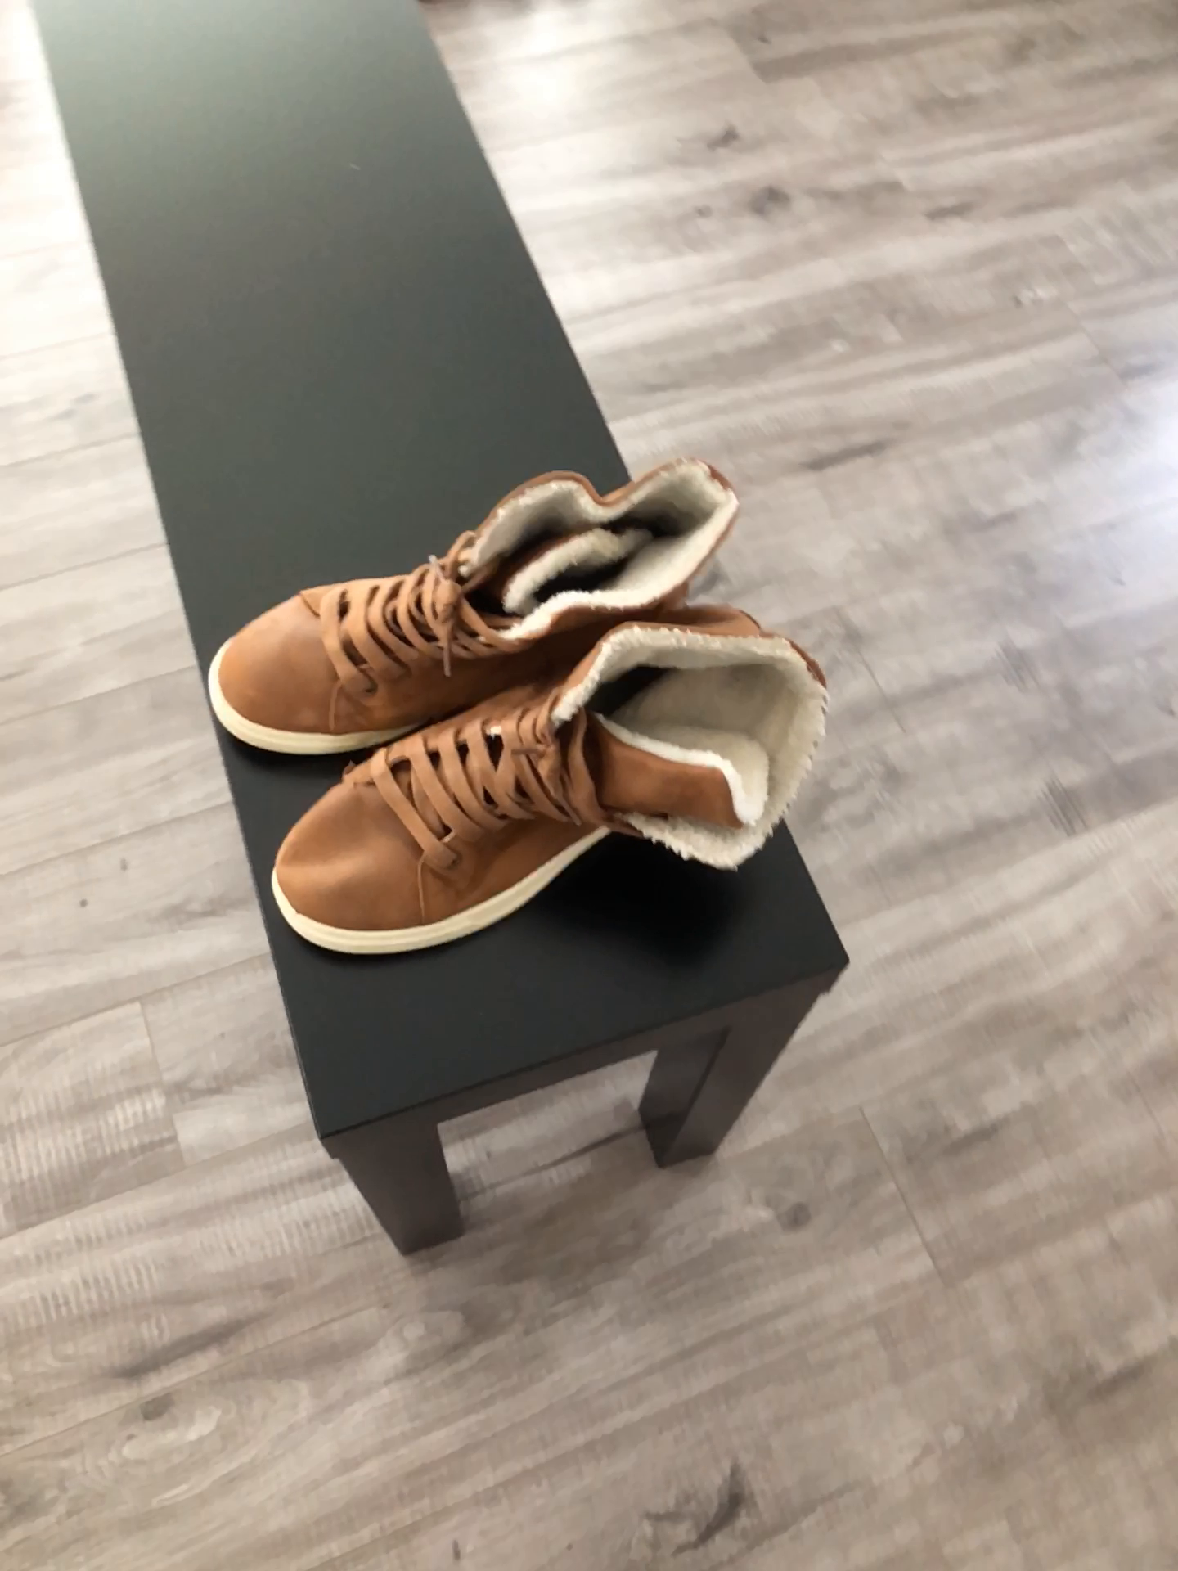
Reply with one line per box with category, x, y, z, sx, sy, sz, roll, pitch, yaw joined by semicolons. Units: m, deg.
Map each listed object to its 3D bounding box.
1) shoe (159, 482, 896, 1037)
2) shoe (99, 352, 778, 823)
shoe;-0.026;-0.008;0.558;0.260;0.140;0.110;-20;66;-13
shoe;-0.067;-0.086;0.593;0.260;0.150;0.110;-10;64;-8
